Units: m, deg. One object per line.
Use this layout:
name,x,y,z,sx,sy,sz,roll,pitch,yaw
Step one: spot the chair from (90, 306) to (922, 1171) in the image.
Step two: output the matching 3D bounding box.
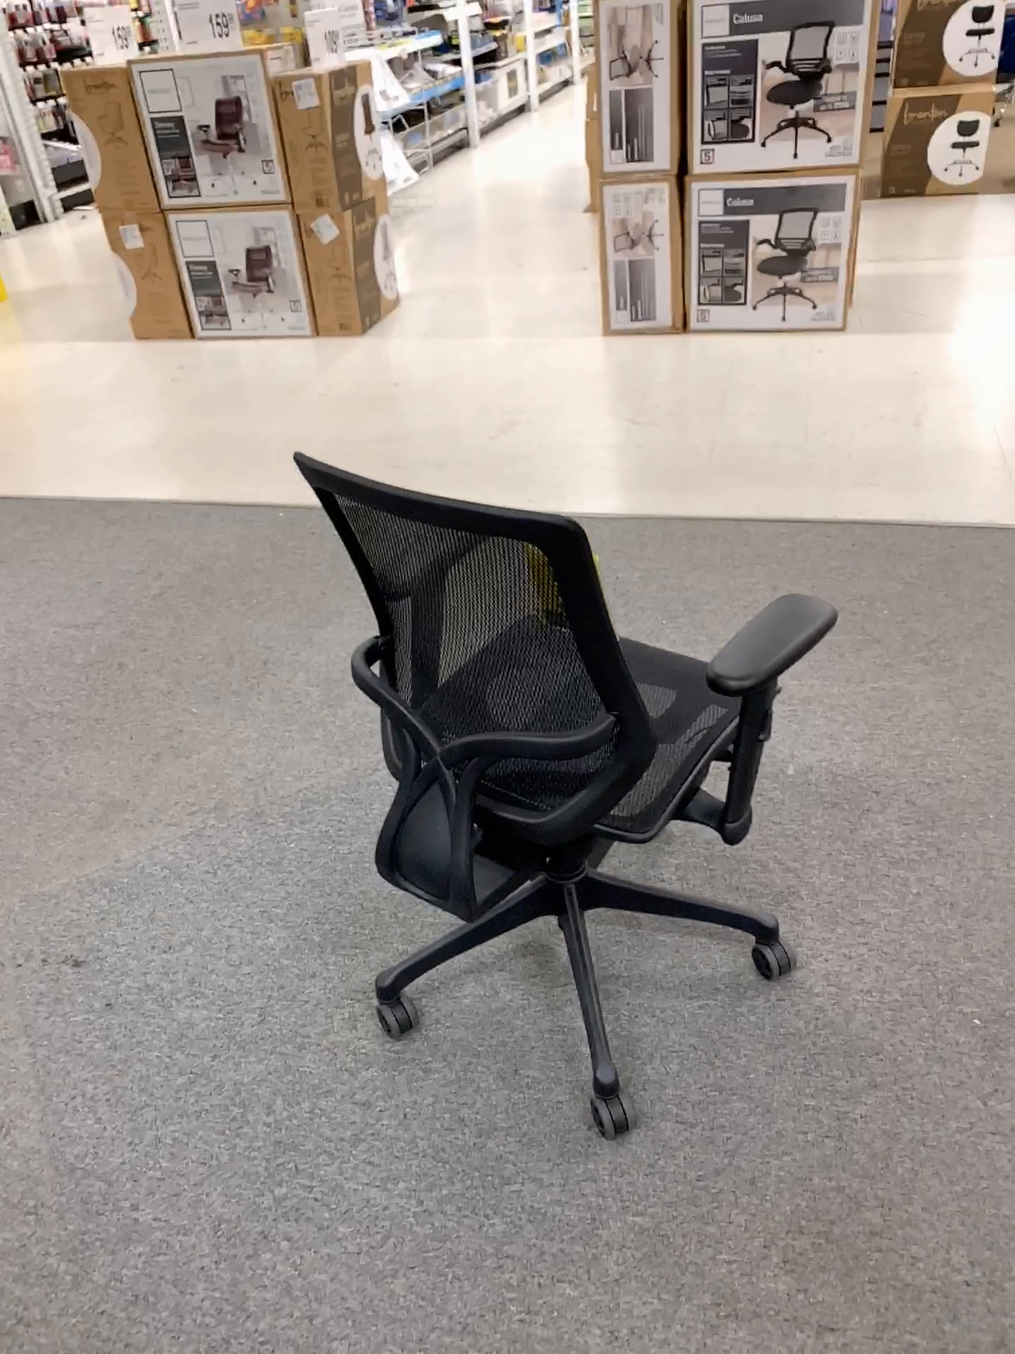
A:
chair,0.076,0.002,1.500,0.761,0.806,0.763,13,39,25
